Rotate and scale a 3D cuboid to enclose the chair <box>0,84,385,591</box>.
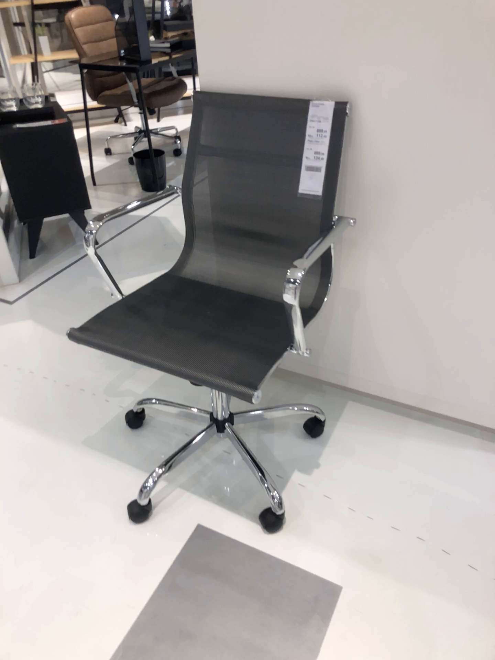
[{"bbox_3d":[-0.109,-0.032,1.320,0.621,0.903,0.654,15,39,25],"label":"chair"}]
